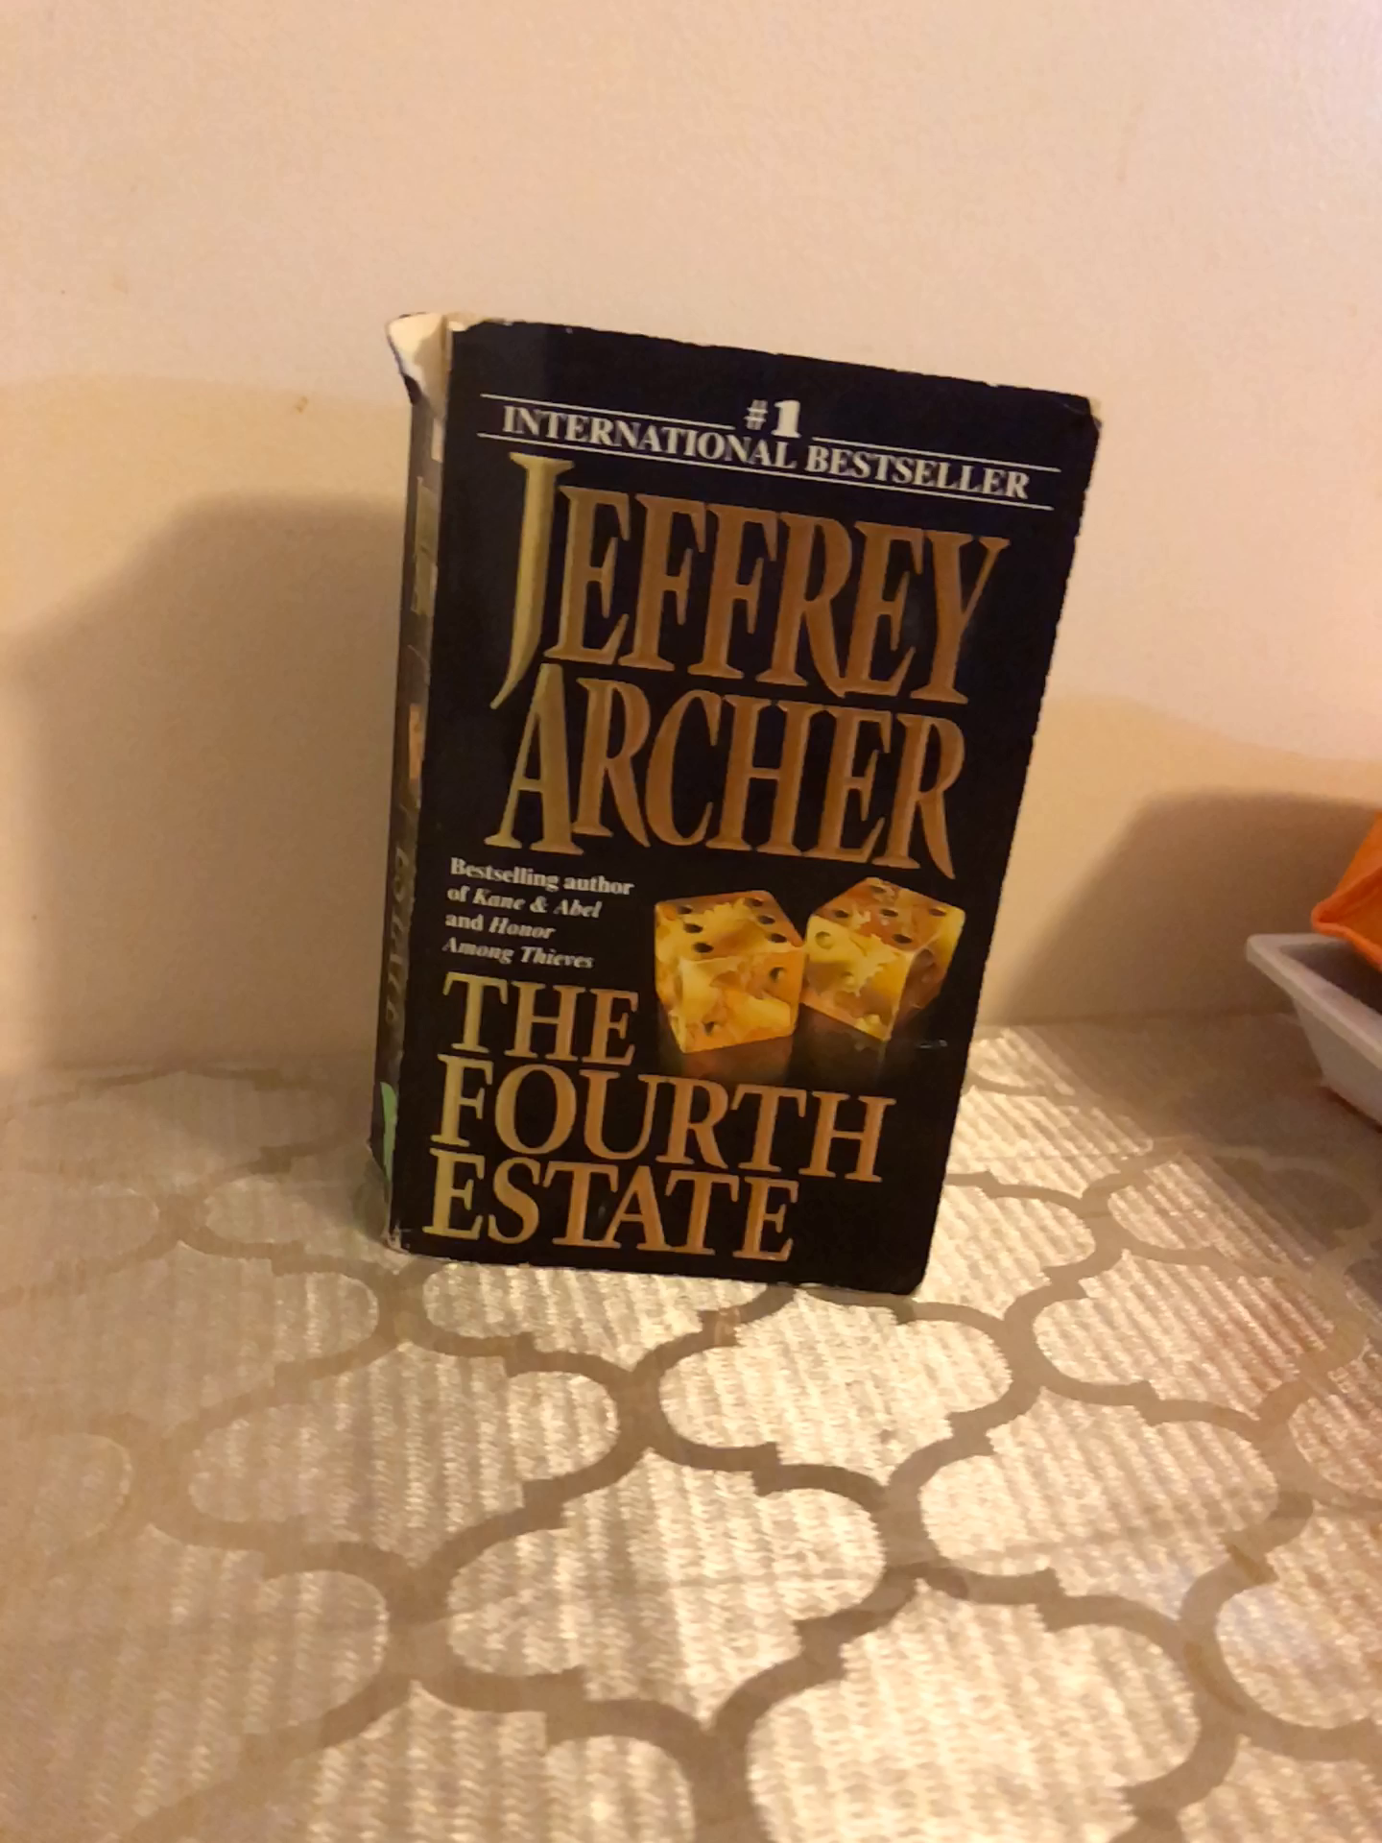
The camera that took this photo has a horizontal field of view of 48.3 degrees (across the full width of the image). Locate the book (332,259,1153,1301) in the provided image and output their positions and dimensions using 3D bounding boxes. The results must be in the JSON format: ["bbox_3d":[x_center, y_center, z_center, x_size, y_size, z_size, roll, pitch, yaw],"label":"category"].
[{"bbox_3d":[0.002,-0.023,0.288,0.120,0.169,0.060,5,18,-4],"label":"book"}]
